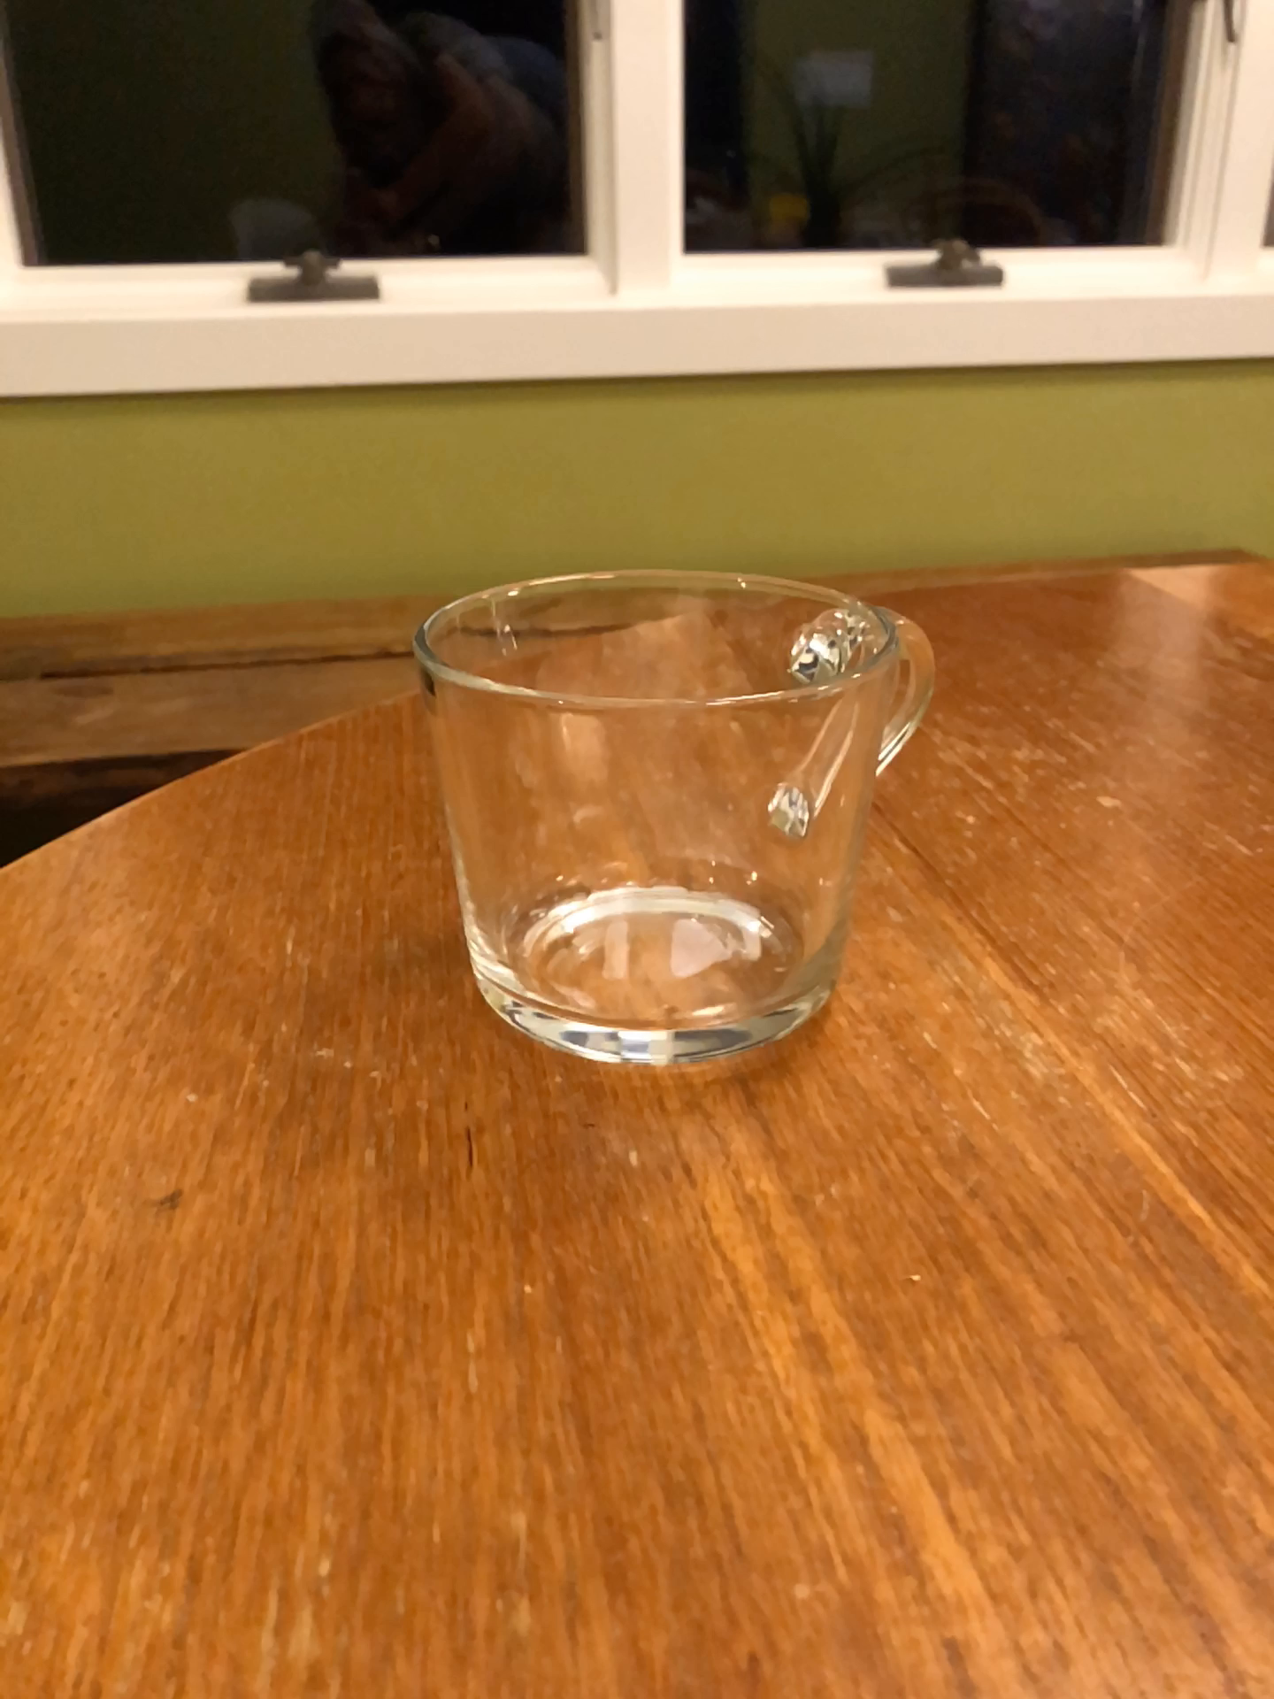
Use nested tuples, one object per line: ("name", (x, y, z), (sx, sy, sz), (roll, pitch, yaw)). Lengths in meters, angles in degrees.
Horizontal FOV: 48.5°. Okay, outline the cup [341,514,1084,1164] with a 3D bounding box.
("cup", (0.016, -0.014, 0.316), (0.120, 0.089, 0.100), (-18, 29, -33))
